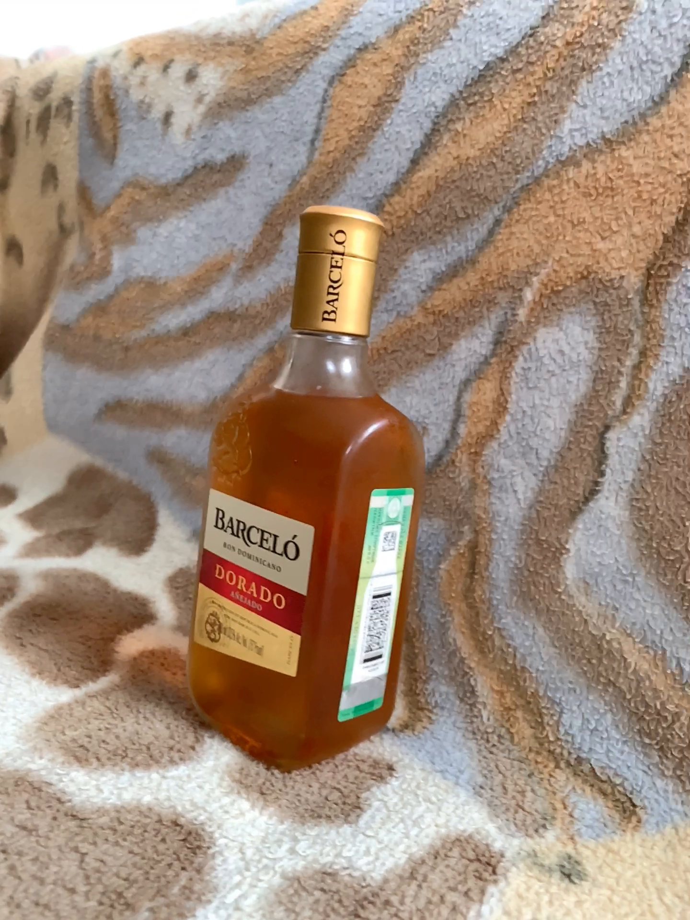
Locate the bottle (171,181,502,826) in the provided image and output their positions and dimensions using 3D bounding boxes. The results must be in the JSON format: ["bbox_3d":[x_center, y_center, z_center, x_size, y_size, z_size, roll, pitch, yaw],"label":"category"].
[{"bbox_3d":[-0.007,0.011,0.294,0.090,0.219,0.070,13,10,40],"label":"bottle"}]
